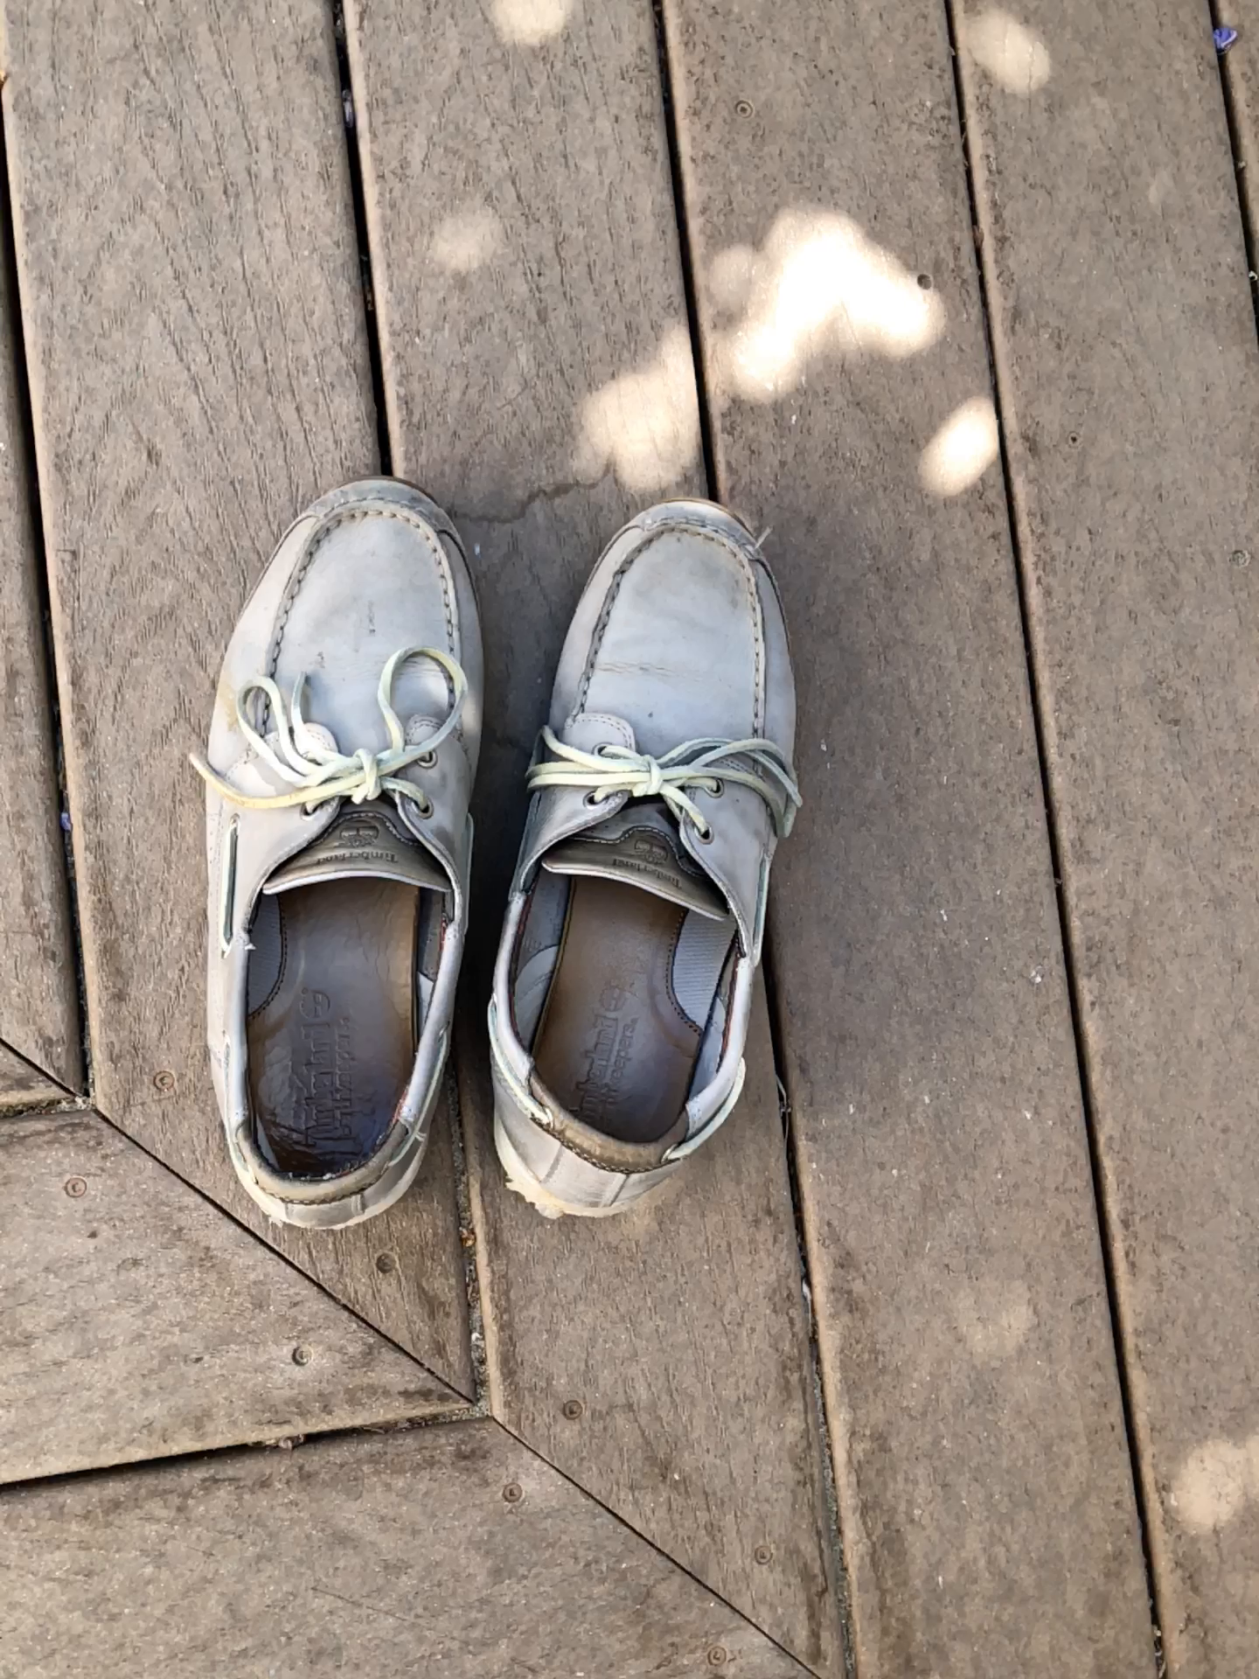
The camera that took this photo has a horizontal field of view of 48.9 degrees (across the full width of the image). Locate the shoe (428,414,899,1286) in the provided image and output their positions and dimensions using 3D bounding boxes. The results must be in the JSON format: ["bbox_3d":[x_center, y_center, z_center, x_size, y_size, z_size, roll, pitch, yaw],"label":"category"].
[{"bbox_3d":[0.011,0.005,0.570,0.121,0.098,0.312,12,83,-9],"label":"shoe"}]

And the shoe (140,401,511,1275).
[{"bbox_3d":[-0.115,0.001,0.547,0.119,0.096,0.310,2,84,-10],"label":"shoe"}]
